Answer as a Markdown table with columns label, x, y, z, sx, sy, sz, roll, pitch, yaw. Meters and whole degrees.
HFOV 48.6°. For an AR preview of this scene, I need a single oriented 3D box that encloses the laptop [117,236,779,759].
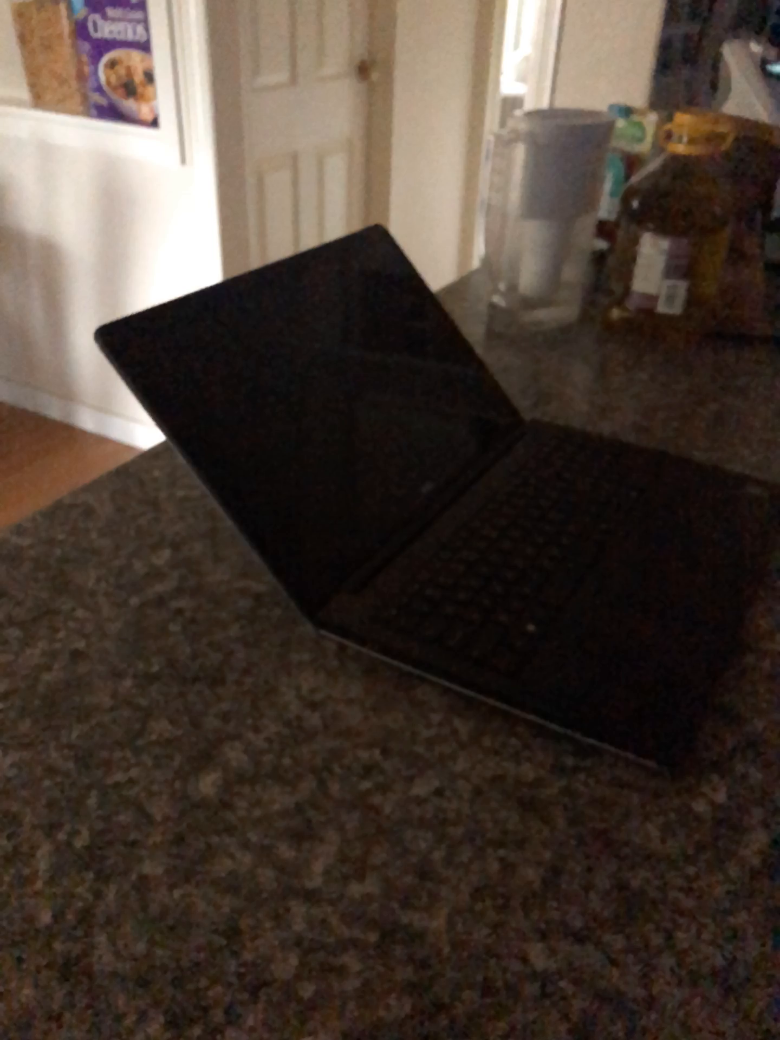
| label | x | y | z | sx | sy | sz | roll | pitch | yaw |
| --- | --- | --- | --- | --- | --- | --- | --- | --- | --- |
| laptop | 0.082 | -0.072 | 0.667 | 0.414 | 0.158 | 0.362 | 18 | 35 | 25 |
